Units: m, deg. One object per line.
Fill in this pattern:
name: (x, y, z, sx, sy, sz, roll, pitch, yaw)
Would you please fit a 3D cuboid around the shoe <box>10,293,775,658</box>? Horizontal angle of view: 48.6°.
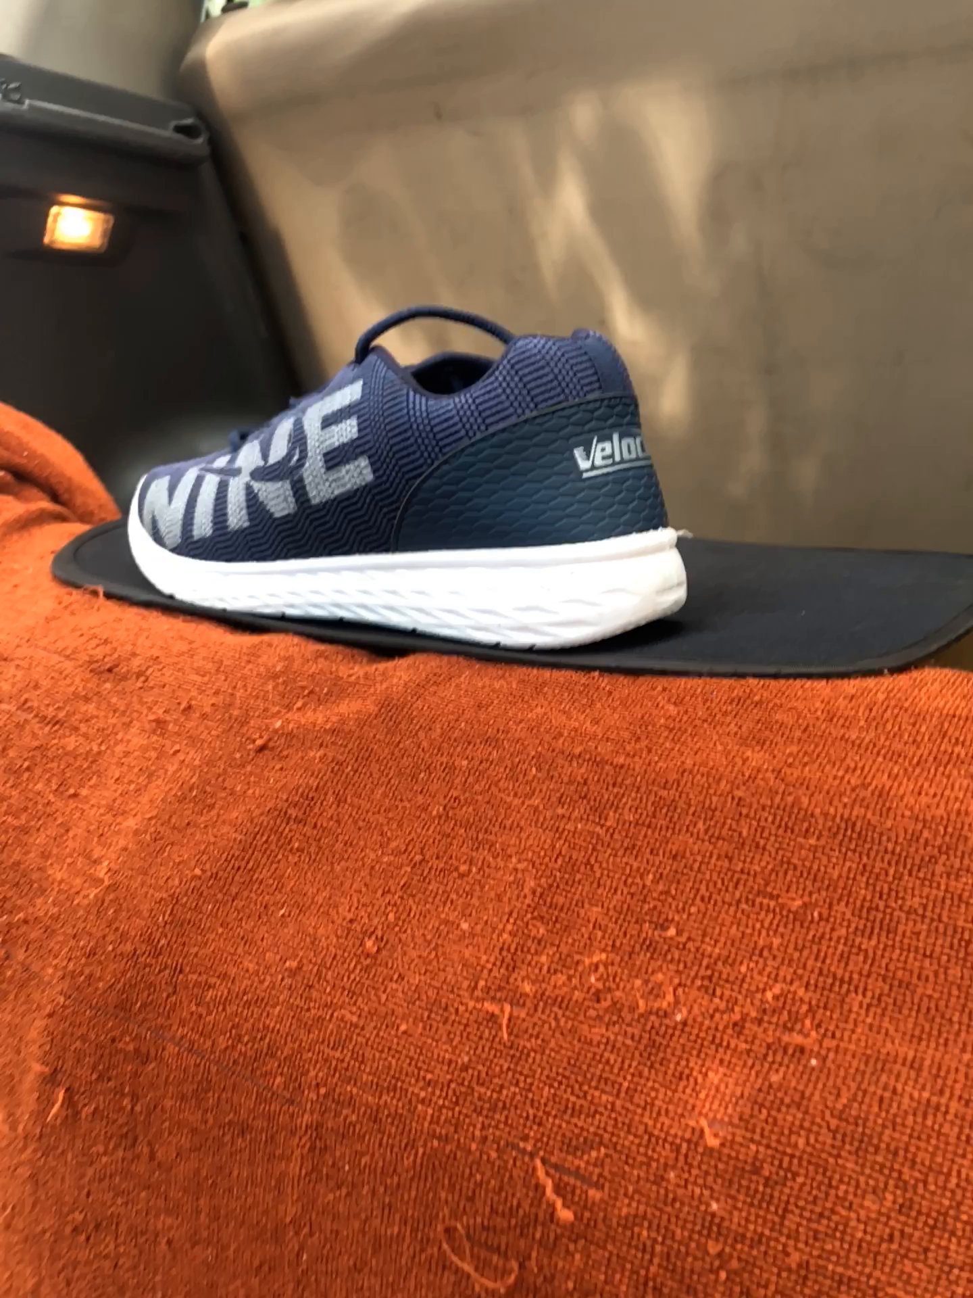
shoe: (-0.048, -0.074, 0.436, 0.290, 0.100, 0.131, 7, 16, 37)
